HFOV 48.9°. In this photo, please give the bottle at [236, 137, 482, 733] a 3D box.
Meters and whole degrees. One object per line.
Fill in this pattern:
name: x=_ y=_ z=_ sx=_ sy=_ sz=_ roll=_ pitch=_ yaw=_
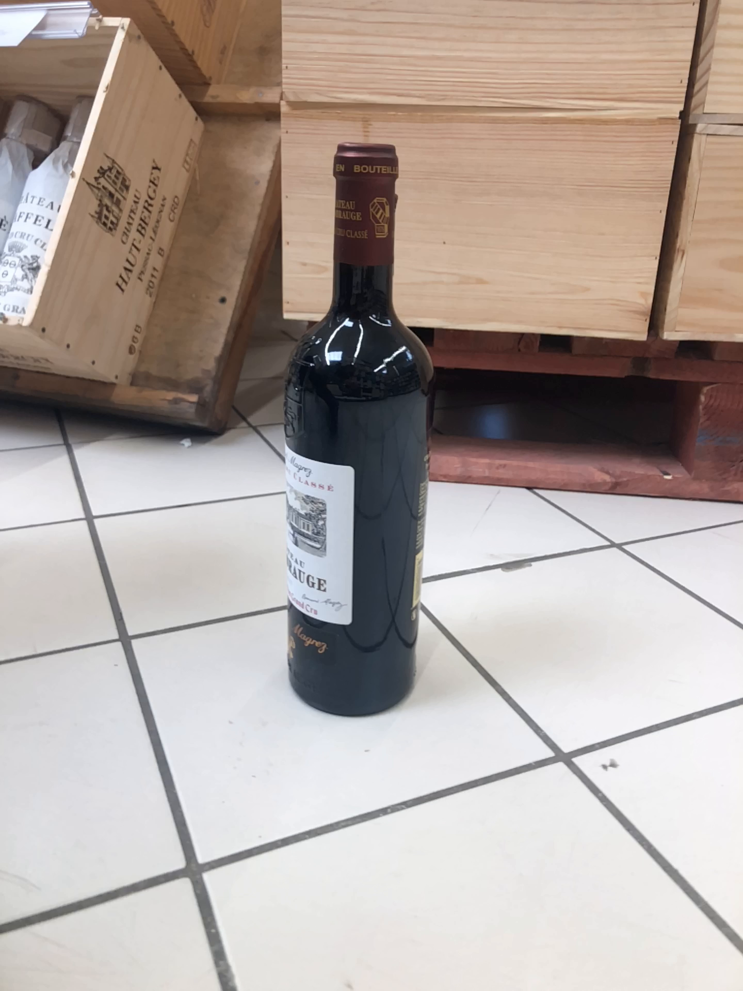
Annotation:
bottle: x=-0.015 y=-0.030 z=0.432 sx=0.090 sy=0.289 sz=0.090 roll=2 pitch=22 yaw=-1
